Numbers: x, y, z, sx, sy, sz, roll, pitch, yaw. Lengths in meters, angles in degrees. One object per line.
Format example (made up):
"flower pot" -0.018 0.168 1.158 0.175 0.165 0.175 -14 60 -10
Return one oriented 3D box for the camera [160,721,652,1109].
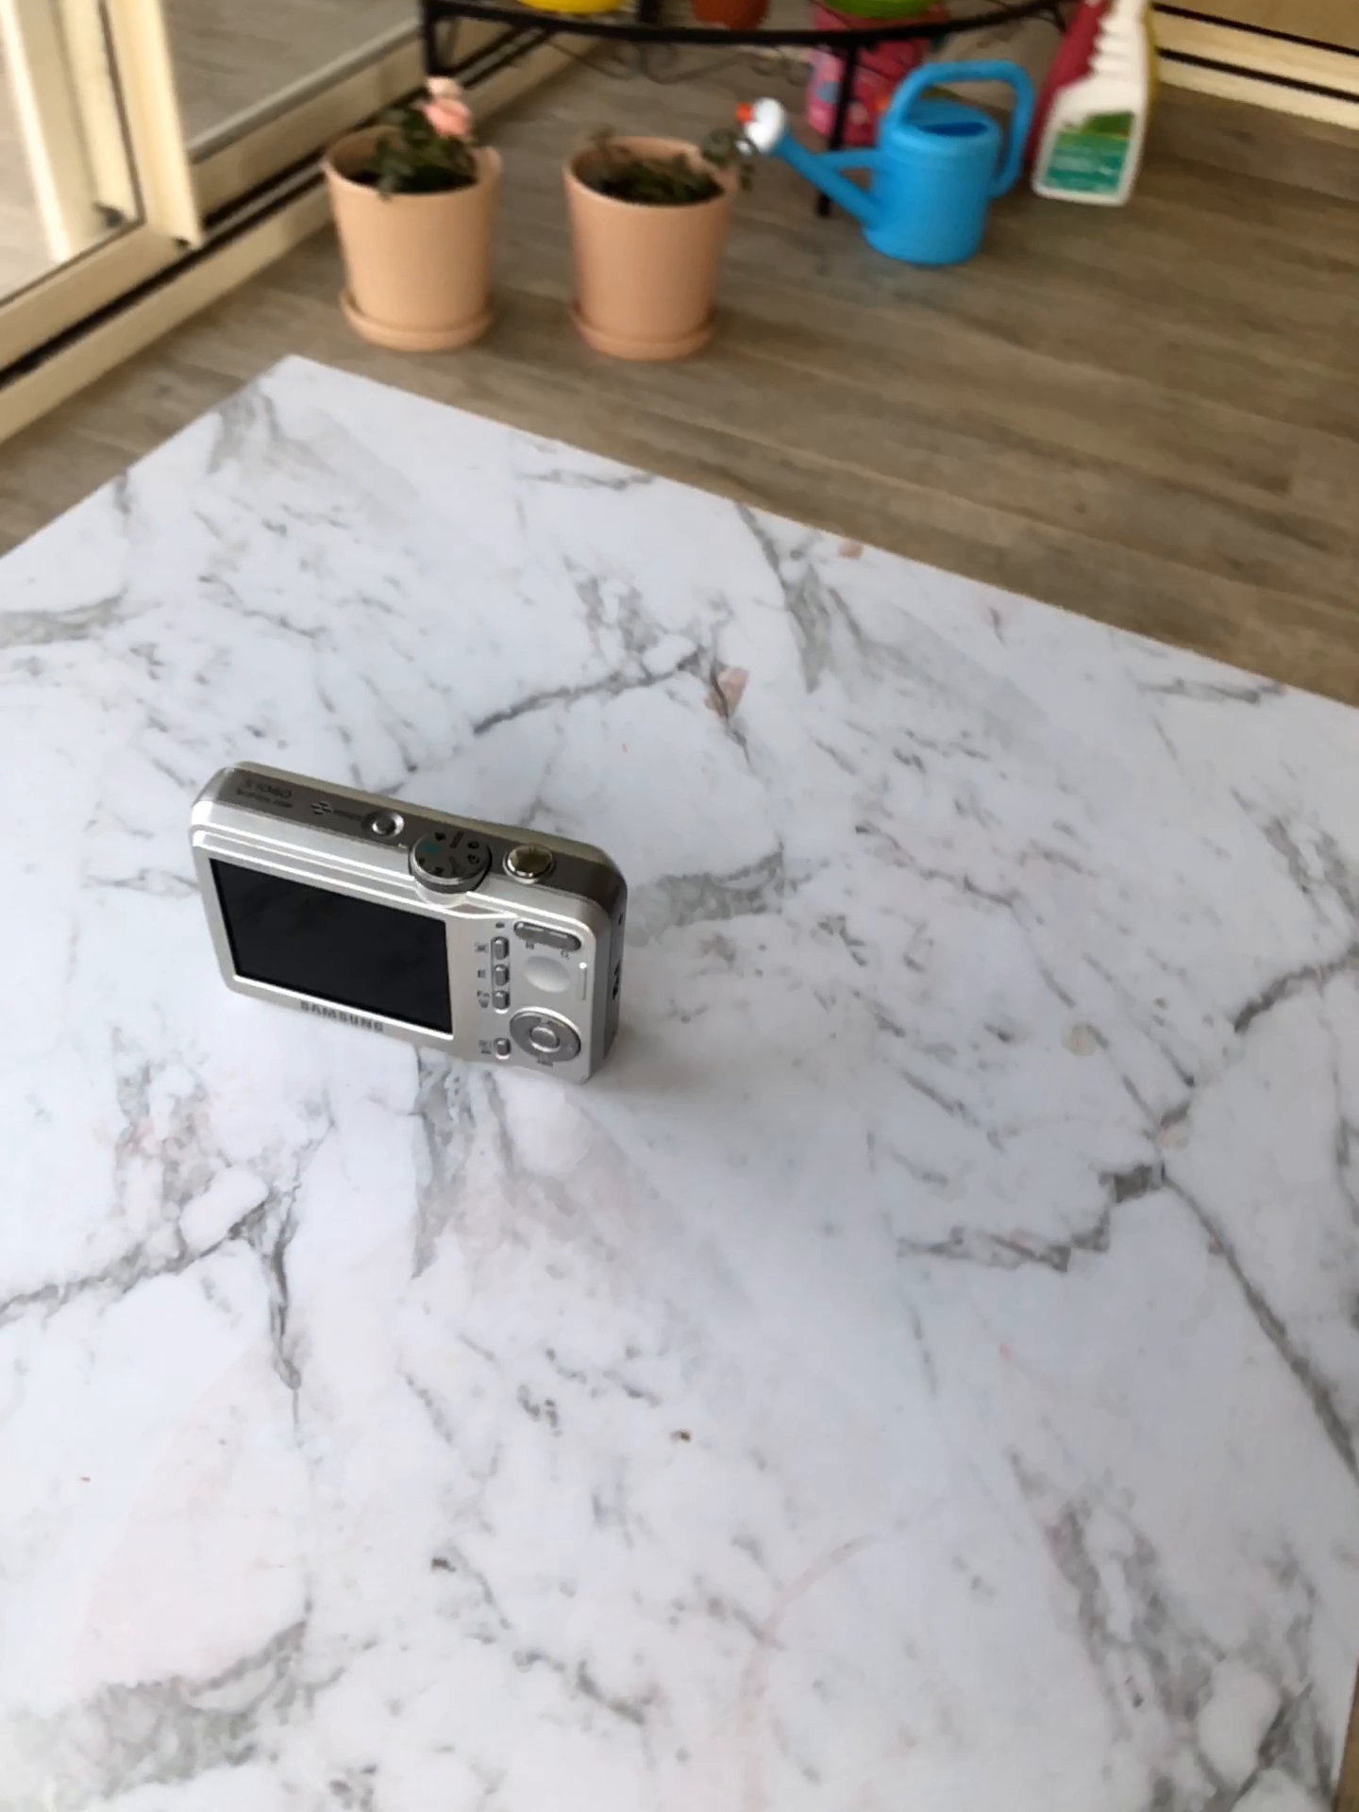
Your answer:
"camera" -0.060 0.003 0.347 0.099 0.061 0.034 14 48 7
